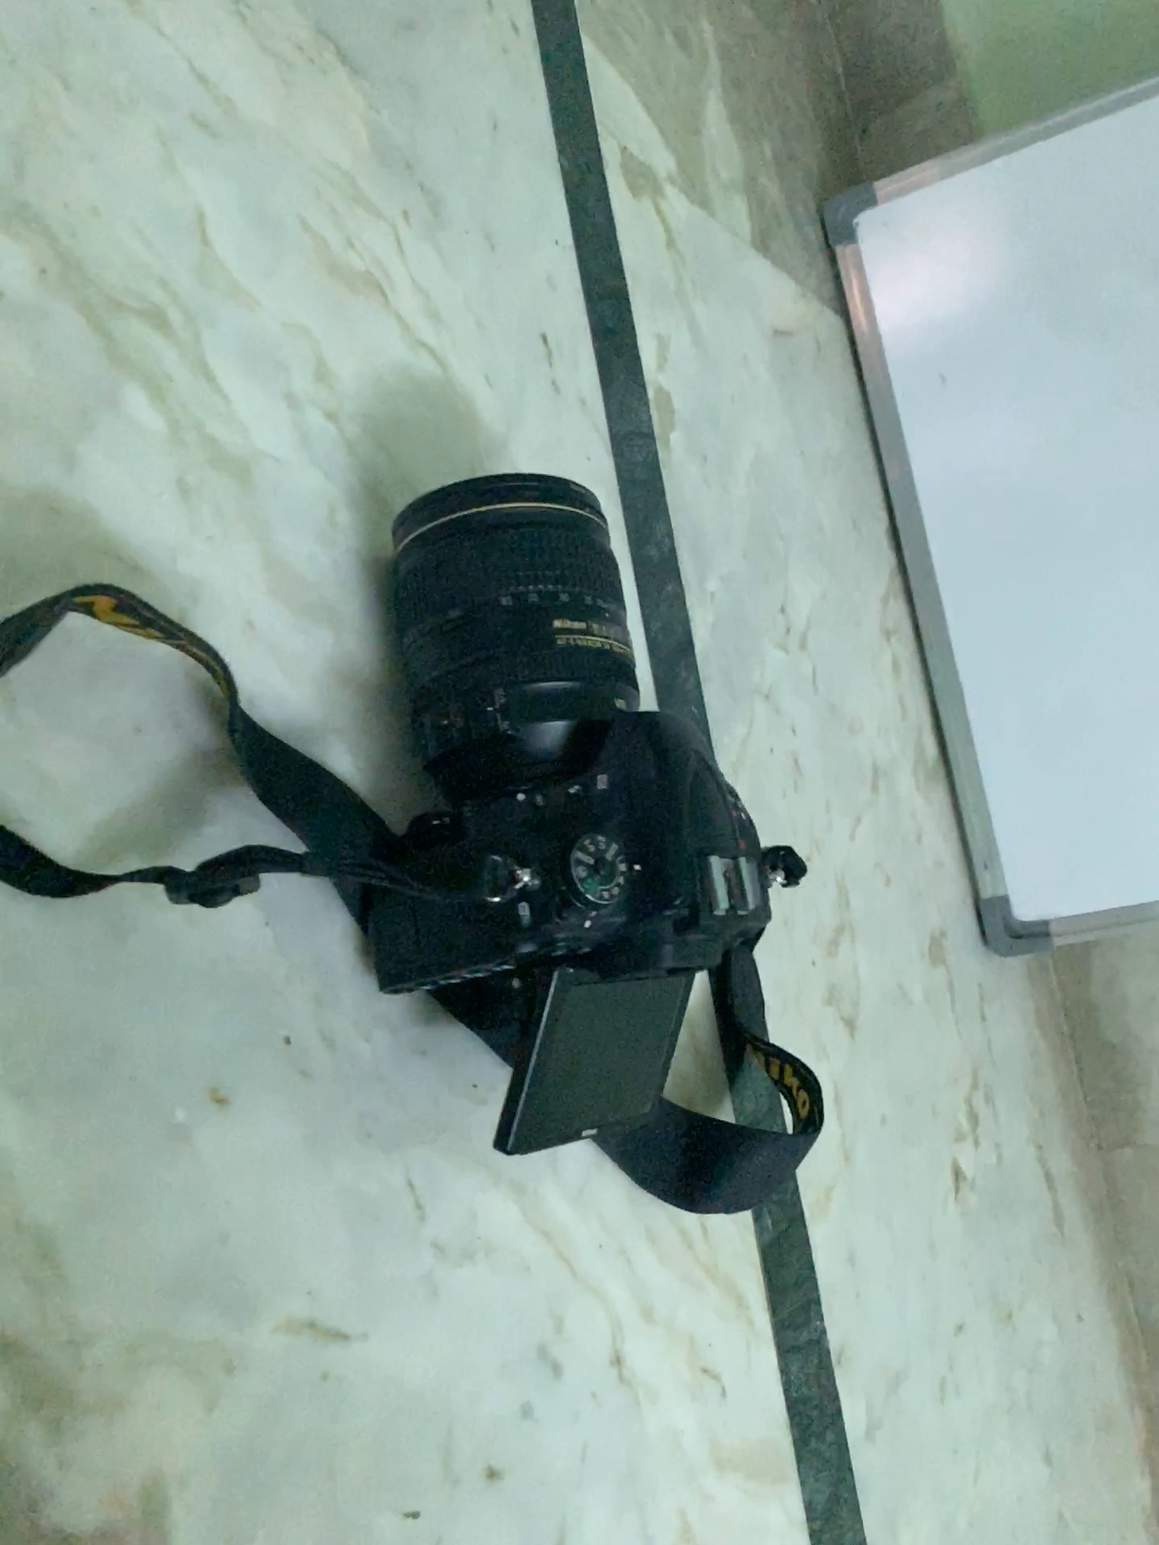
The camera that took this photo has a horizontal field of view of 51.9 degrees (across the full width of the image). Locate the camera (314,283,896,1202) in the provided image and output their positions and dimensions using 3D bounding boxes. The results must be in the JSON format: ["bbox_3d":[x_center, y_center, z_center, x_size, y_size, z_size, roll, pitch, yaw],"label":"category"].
[{"bbox_3d":[0.009,-0.002,0.411,0.147,0.100,0.258,9,69,-52],"label":"camera"}]
